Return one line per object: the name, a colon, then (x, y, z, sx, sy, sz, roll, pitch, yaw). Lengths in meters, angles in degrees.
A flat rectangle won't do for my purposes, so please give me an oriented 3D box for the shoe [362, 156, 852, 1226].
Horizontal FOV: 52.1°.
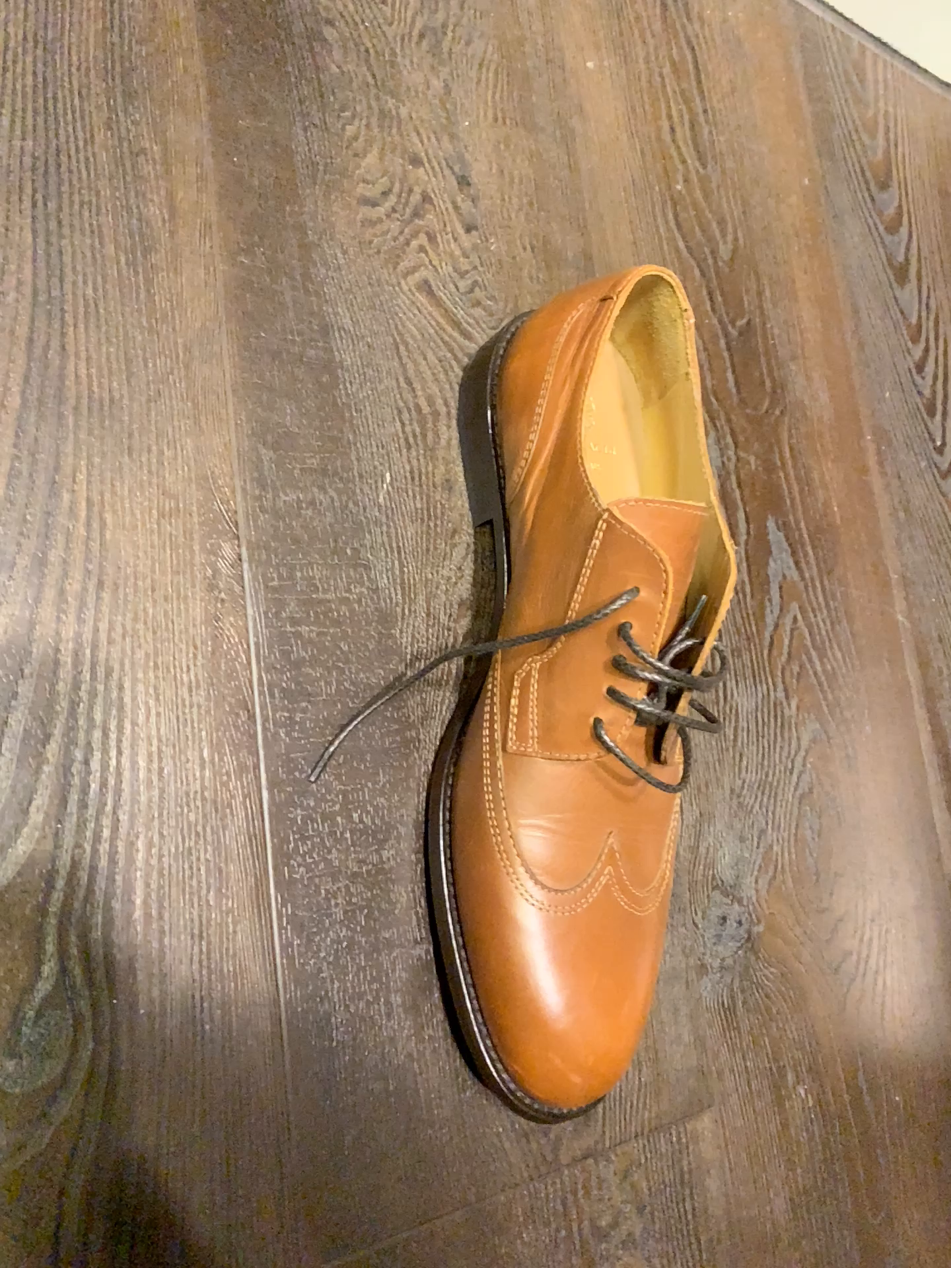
shoe: (0.046, 0.015, 0.363, 0.120, 0.109, 0.321, 10, 74, -30)
